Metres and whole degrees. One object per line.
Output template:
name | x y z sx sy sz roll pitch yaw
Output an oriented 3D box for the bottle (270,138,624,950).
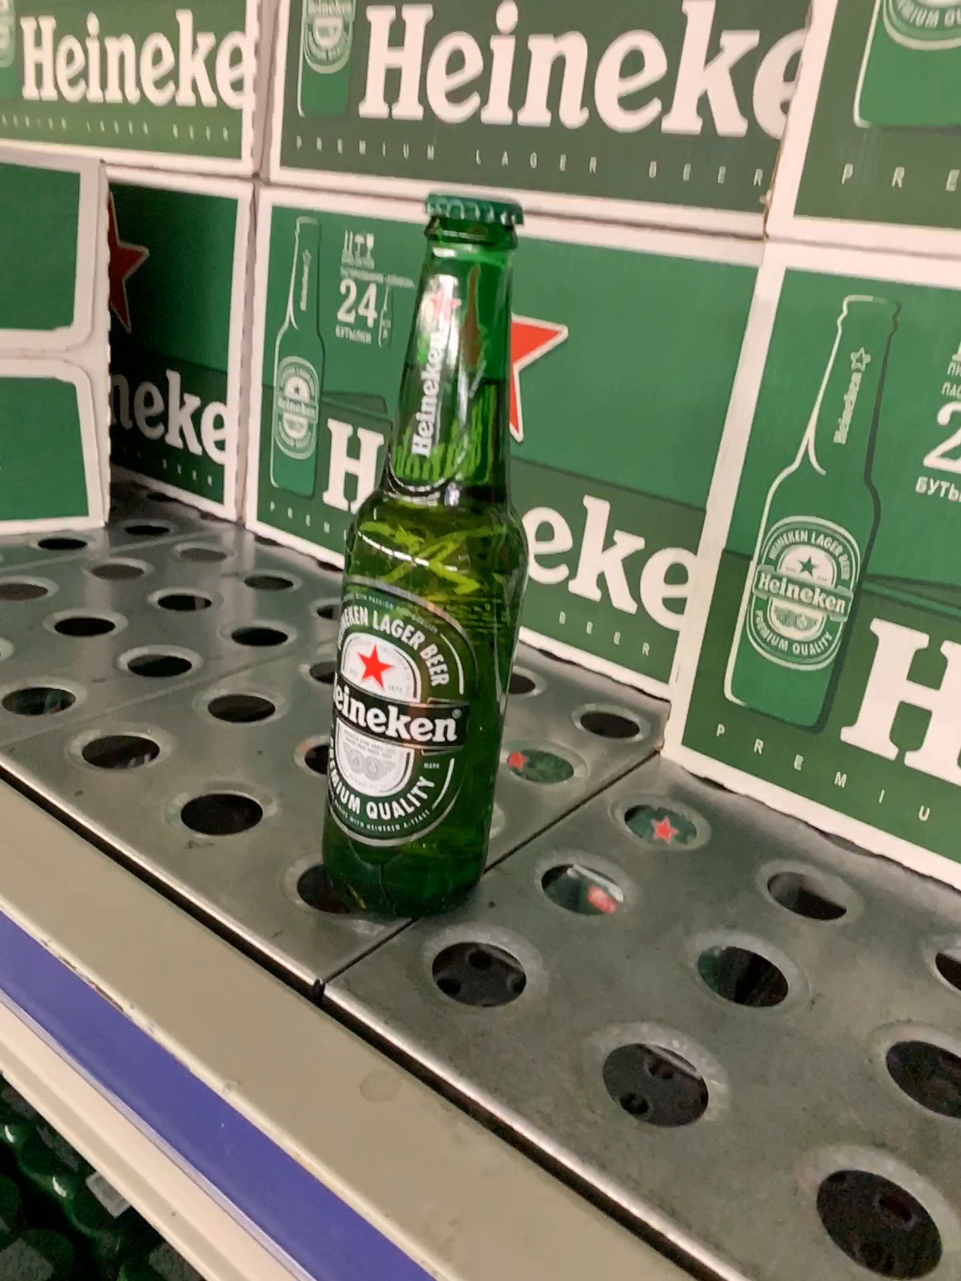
bottle | -0.016 -0.024 0.307 0.060 0.225 0.060 7 21 -3
